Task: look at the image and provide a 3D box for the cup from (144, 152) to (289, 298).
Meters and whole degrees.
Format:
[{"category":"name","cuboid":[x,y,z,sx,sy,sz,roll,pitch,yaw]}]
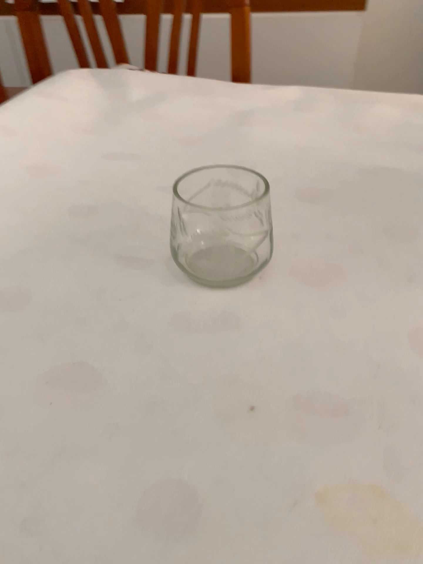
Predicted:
[{"category":"cup","cuboid":[0.008,-0.041,0.289,0.080,0.060,0.080,-1,38,1]}]
